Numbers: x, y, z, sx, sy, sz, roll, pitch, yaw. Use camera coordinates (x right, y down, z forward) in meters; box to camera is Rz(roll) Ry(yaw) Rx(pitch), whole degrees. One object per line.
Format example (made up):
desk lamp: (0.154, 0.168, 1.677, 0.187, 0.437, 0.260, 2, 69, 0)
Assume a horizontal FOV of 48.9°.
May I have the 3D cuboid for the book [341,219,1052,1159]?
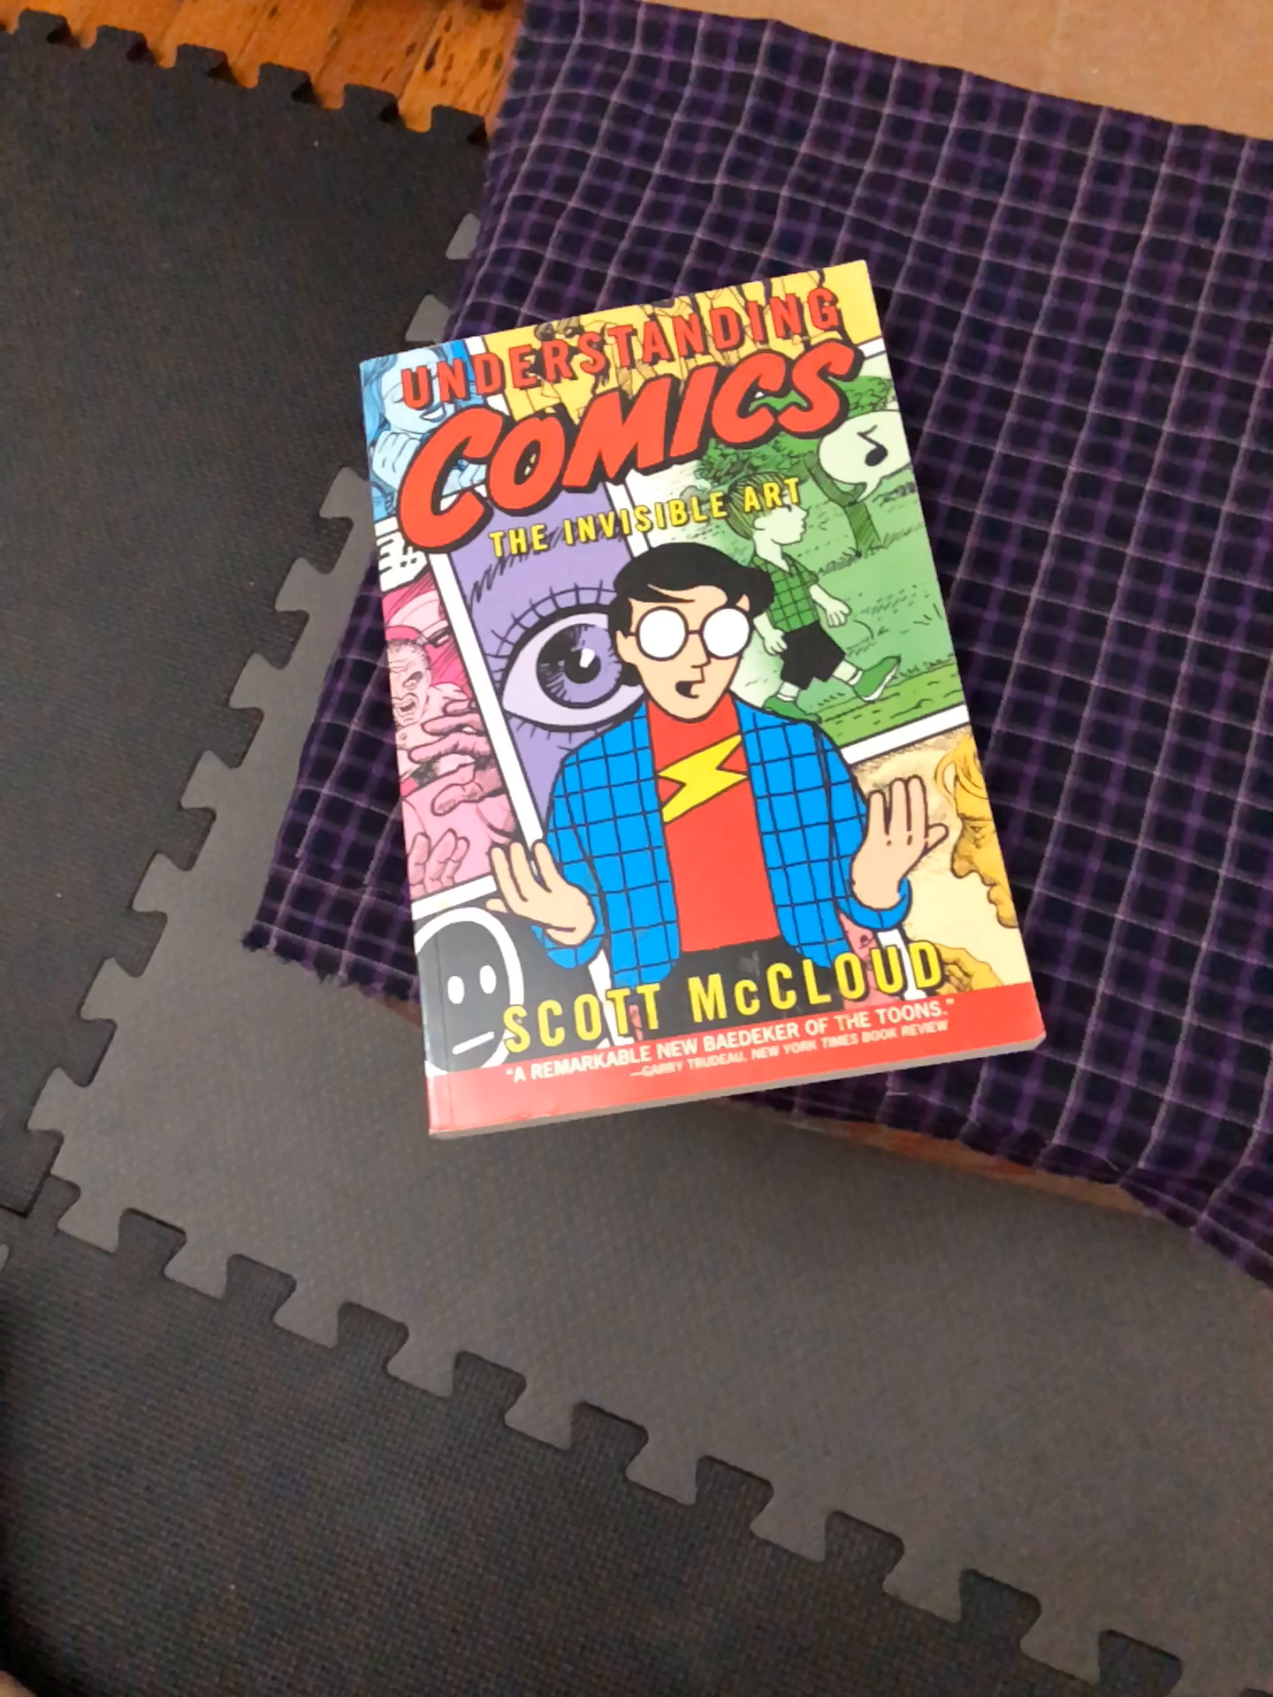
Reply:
book: (0.007, -0.057, 0.420, 0.170, 0.020, 0.270, -9, 72, 4)
